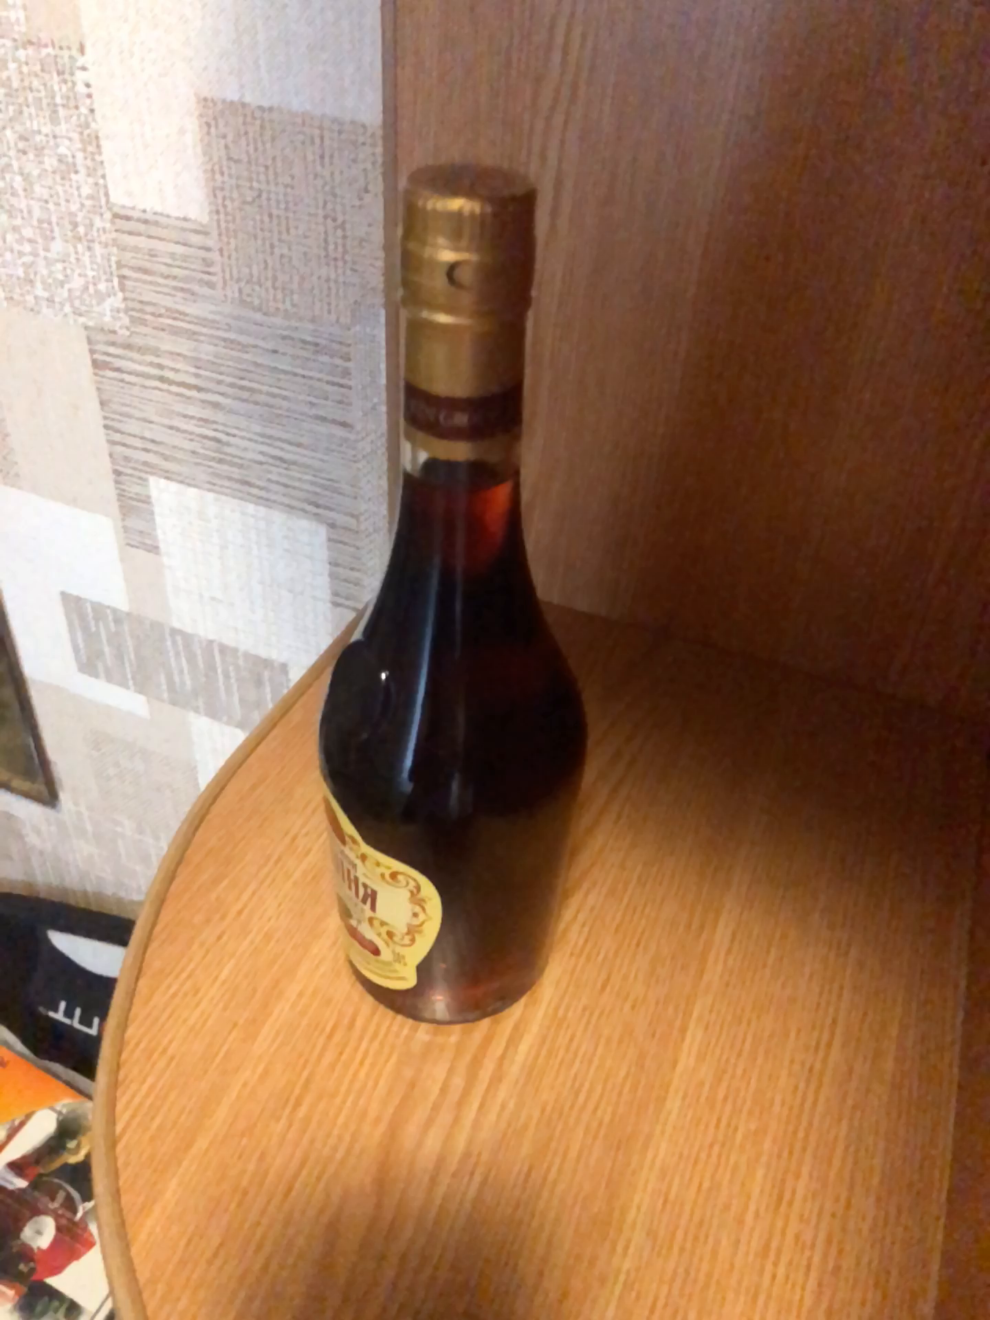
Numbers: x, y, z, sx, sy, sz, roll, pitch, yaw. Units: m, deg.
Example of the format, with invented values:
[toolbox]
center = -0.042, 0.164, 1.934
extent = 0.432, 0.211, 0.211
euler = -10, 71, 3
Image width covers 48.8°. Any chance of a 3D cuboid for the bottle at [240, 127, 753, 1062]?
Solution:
[bottle]
center = -0.010, -0.007, 0.311
extent = 0.080, 0.244, 0.090
euler = -14, 41, -22
